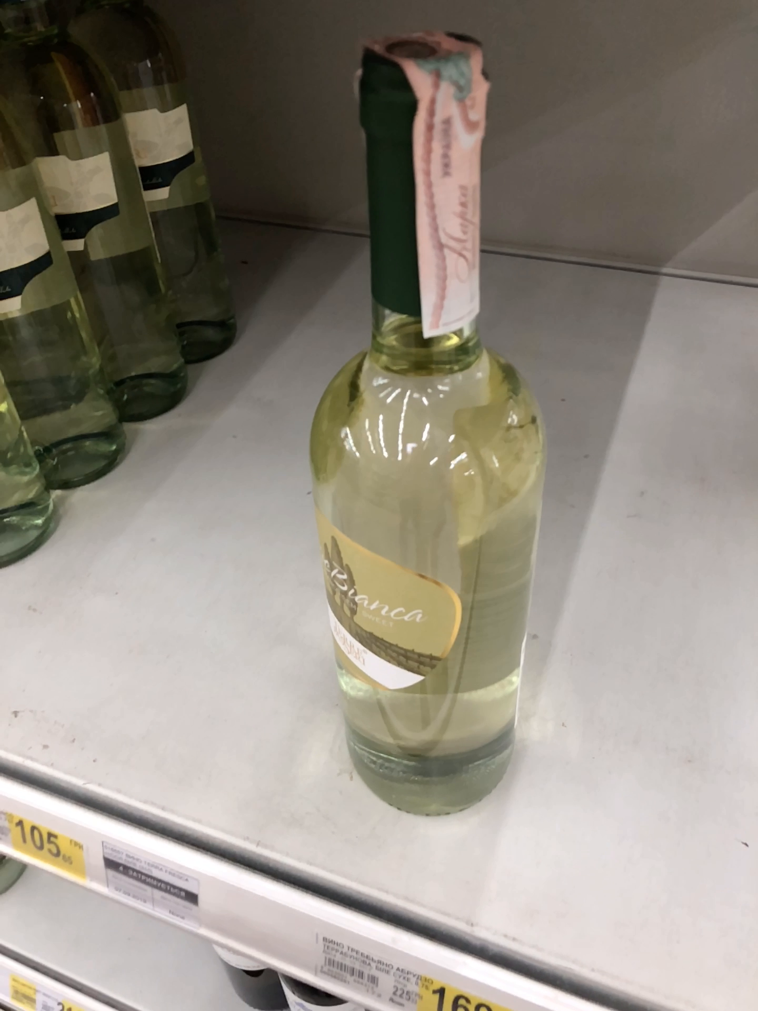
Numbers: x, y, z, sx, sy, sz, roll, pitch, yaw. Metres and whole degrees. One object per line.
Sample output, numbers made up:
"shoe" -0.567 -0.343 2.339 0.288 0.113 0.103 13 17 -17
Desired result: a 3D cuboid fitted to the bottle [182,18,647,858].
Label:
"bottle" 0.013 0.007 0.271 0.070 0.269 0.070 -2 44 2
